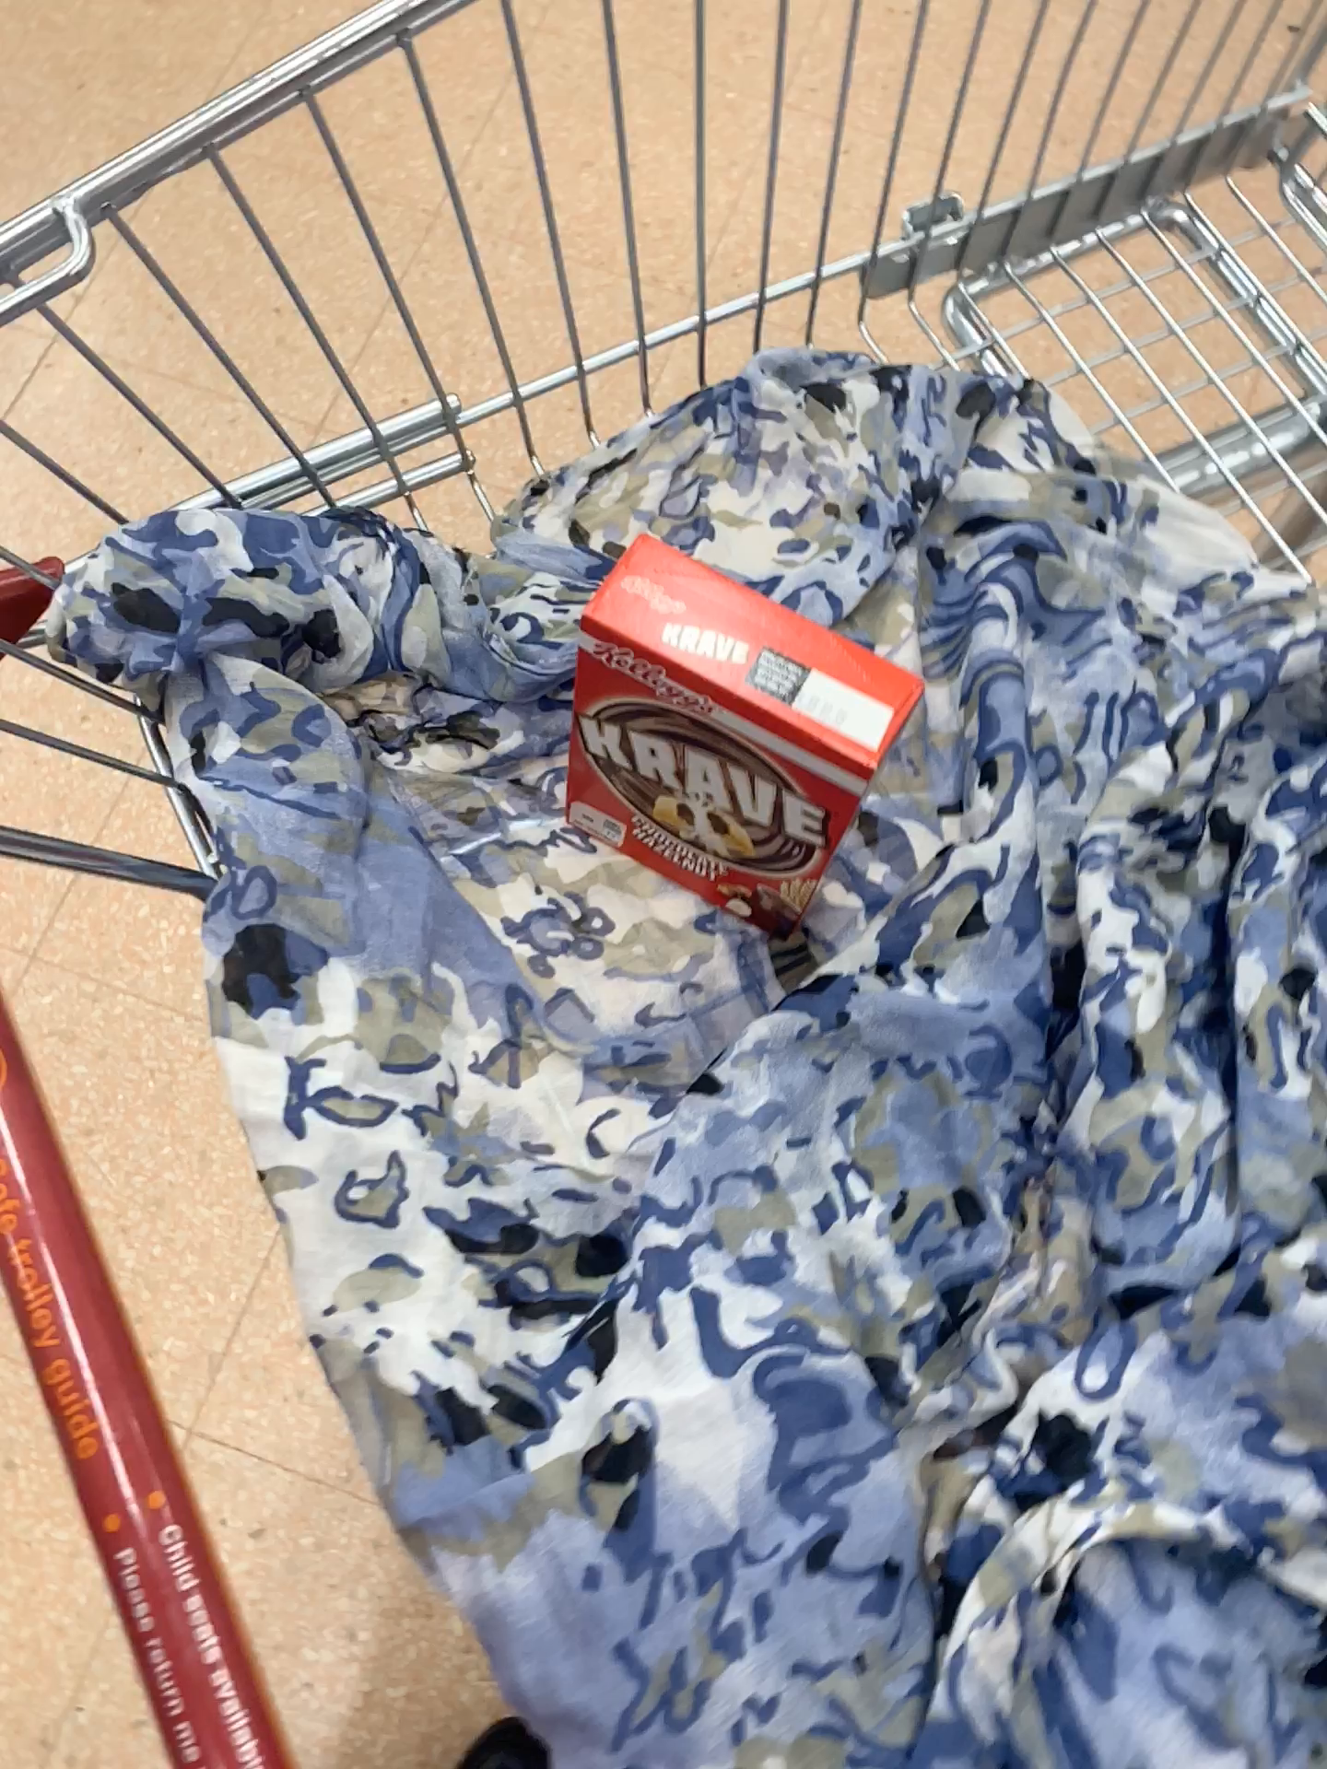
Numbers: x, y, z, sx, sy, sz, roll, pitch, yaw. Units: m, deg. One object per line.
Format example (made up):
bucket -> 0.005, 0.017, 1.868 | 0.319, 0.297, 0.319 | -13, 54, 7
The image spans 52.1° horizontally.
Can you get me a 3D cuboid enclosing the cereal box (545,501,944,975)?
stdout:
cereal box -> 0.015, -0.035, 0.415 | 0.090, 0.149, 0.040 | 29, 67, 6
